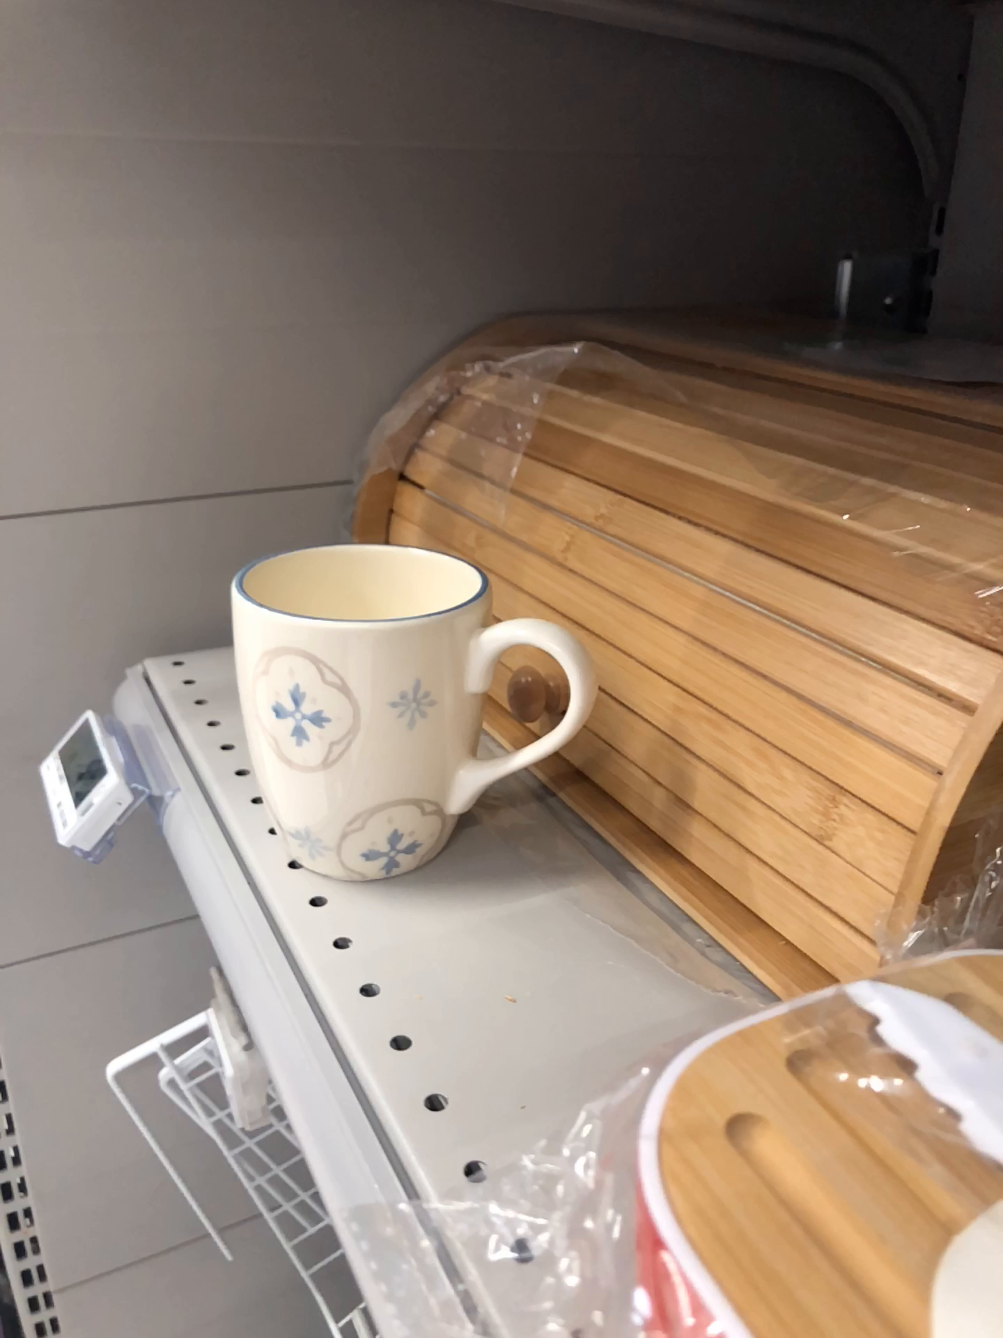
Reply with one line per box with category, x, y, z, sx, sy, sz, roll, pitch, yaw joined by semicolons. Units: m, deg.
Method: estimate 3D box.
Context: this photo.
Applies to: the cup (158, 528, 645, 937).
cup;-0.030;0.014;0.376;0.133;0.089;0.084;10;25;20
